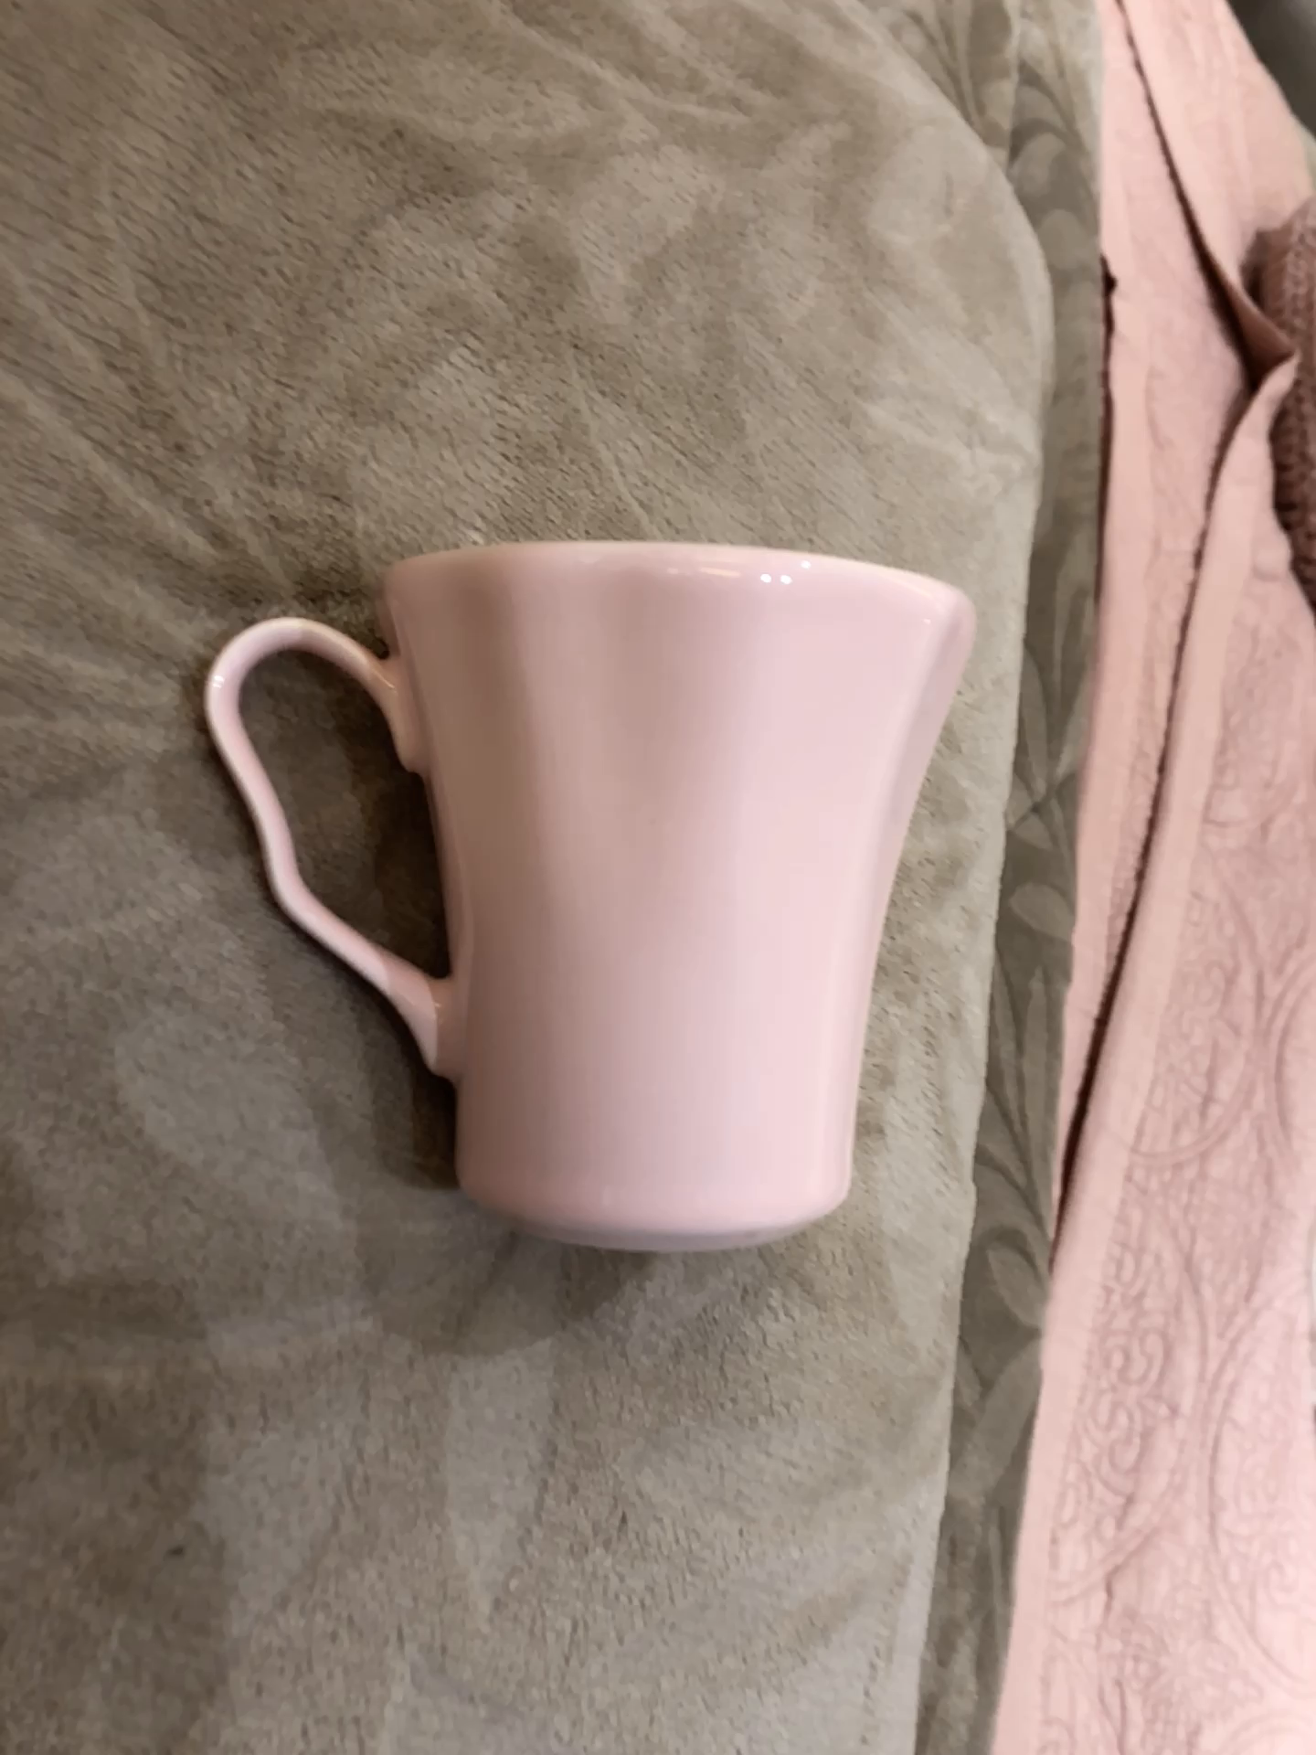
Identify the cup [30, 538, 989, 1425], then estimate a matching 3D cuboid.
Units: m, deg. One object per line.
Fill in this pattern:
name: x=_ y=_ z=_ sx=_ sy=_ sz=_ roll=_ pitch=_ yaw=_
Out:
cup: x=-0.017 y=0.010 z=0.189 sx=0.100 sy=0.070 sz=0.090 roll=0 pitch=91 yaw=-6
